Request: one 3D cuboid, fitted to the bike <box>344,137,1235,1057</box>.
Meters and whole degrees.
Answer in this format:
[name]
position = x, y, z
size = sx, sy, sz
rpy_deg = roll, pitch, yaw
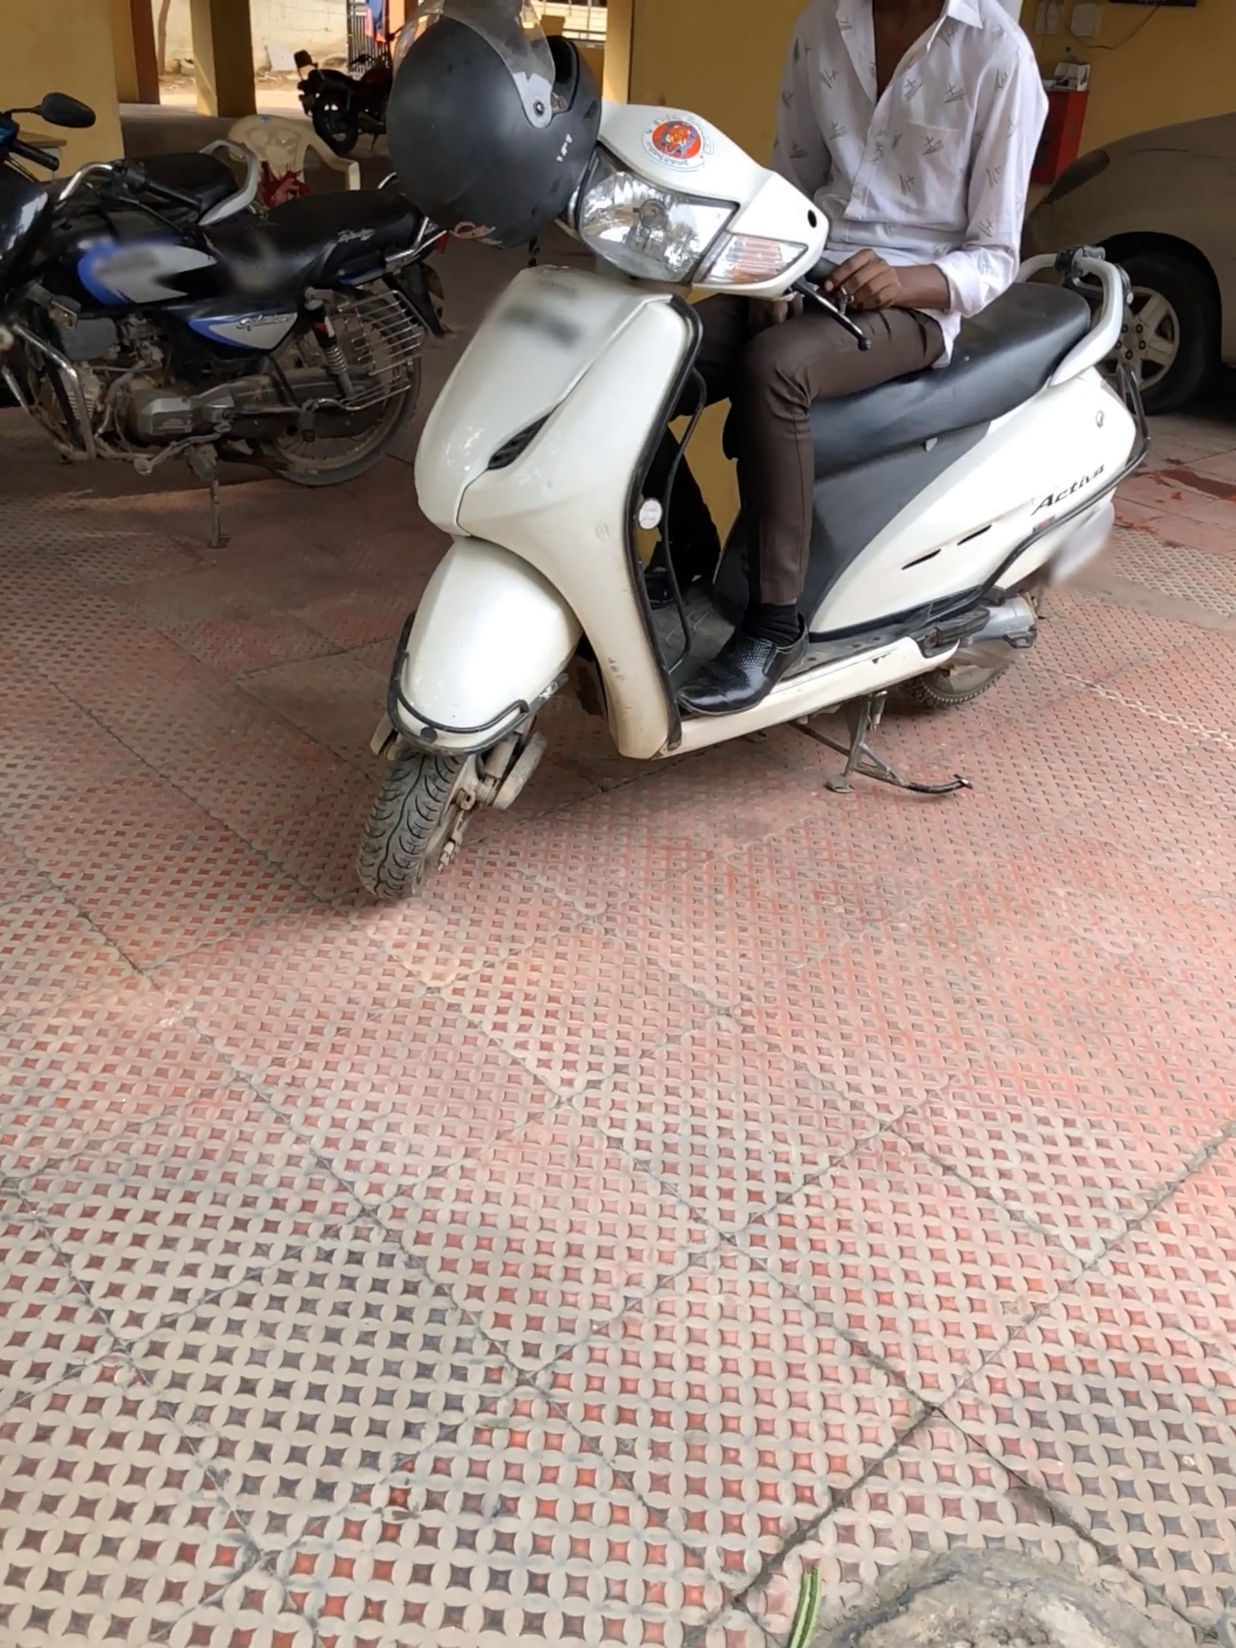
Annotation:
[bike]
position = 0.321, -0.508, 2.342
size = 1.395, 1.108, 0.658
rpy_deg = -23, 39, -36
